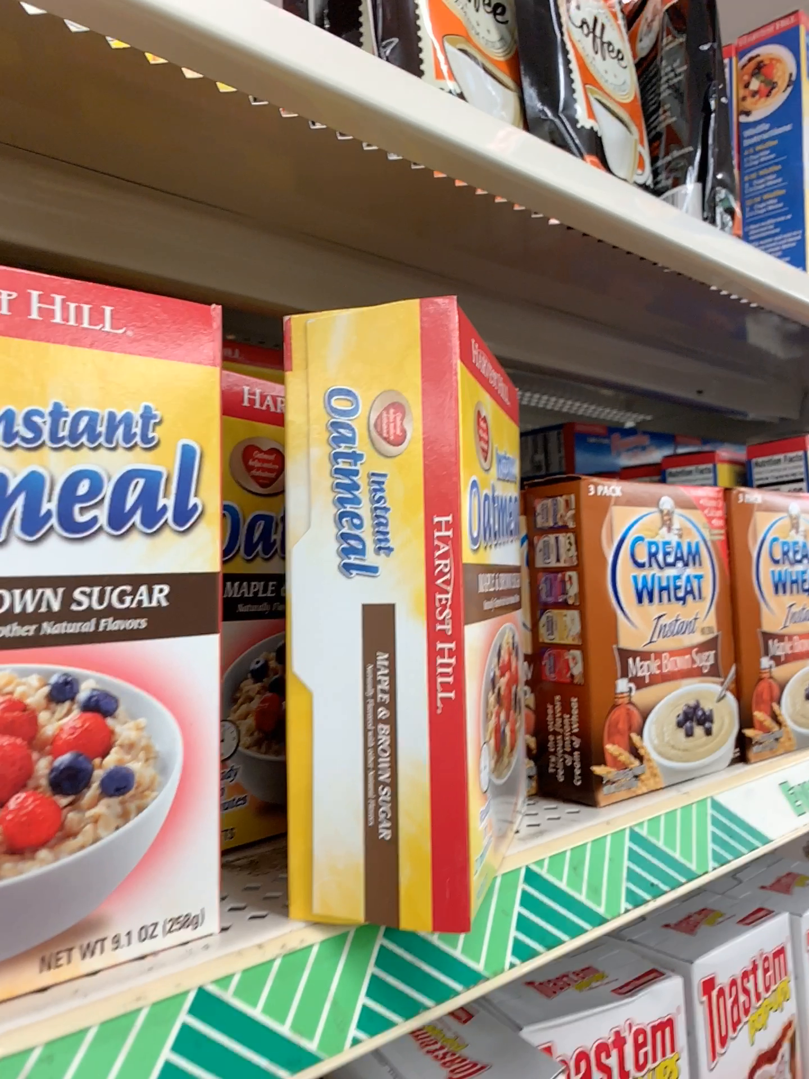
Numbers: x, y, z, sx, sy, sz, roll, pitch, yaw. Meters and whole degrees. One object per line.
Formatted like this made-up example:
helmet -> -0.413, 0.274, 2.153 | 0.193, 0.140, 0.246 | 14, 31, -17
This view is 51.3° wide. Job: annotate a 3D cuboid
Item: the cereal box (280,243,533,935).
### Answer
cereal box -> 0.008, 0.014, 0.289 | 0.050, 0.180, 0.130 | -3, -4, 15
